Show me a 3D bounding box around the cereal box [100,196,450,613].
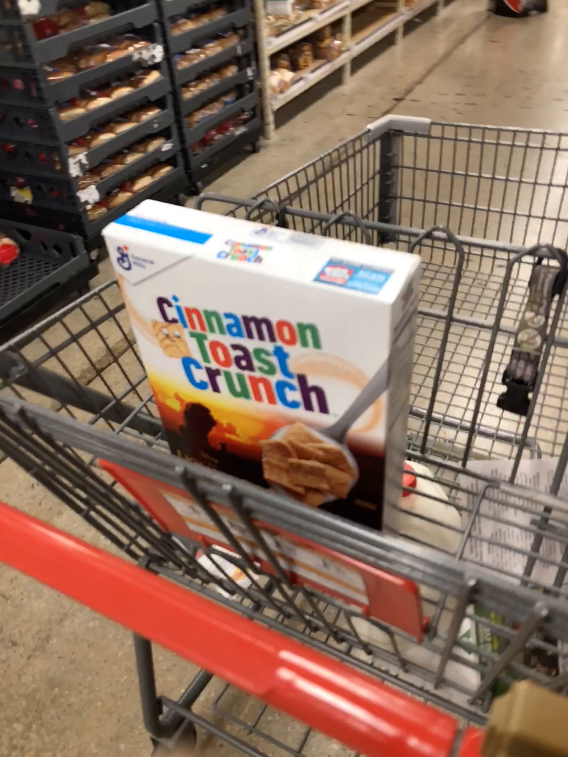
[{"bbox_3d":[0.003,0.034,0.463,0.210,0.309,0.050,18,48,26],"label":"cereal box"}]
